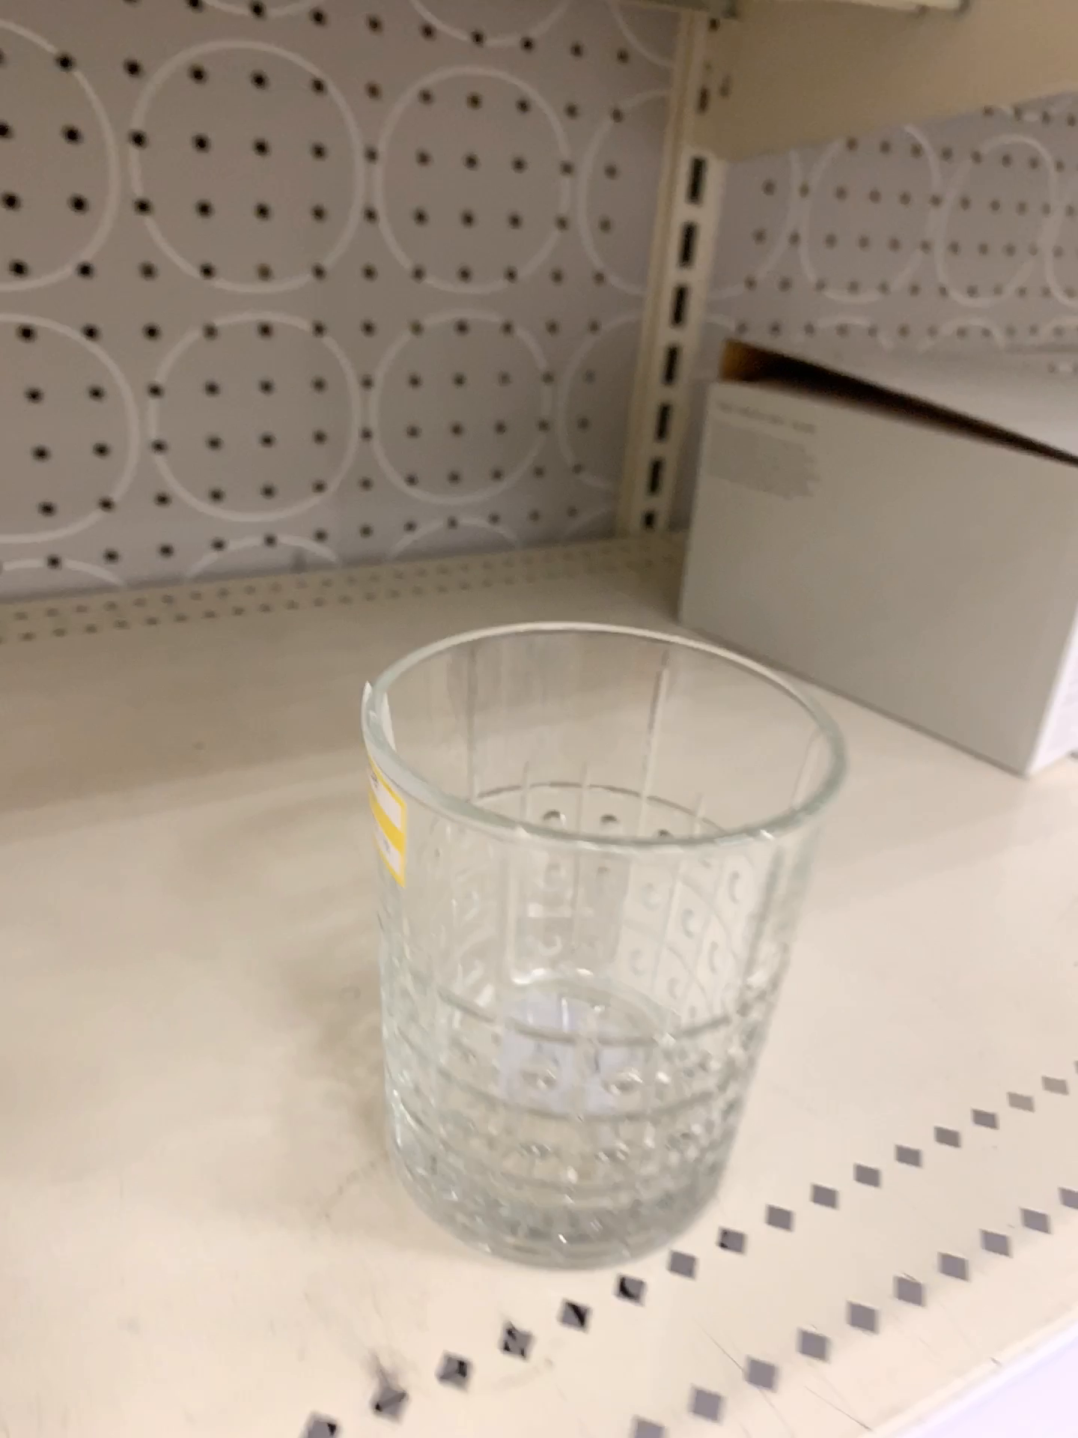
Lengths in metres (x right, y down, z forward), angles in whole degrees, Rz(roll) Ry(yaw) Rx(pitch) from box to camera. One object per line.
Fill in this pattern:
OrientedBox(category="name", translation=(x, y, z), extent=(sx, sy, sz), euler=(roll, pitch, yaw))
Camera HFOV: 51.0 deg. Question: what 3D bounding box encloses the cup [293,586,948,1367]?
OrientedBox(category="cup", translation=(0.006, 0.044, 0.238), extent=(0.090, 0.110, 0.090), euler=(5, 28, -2))
